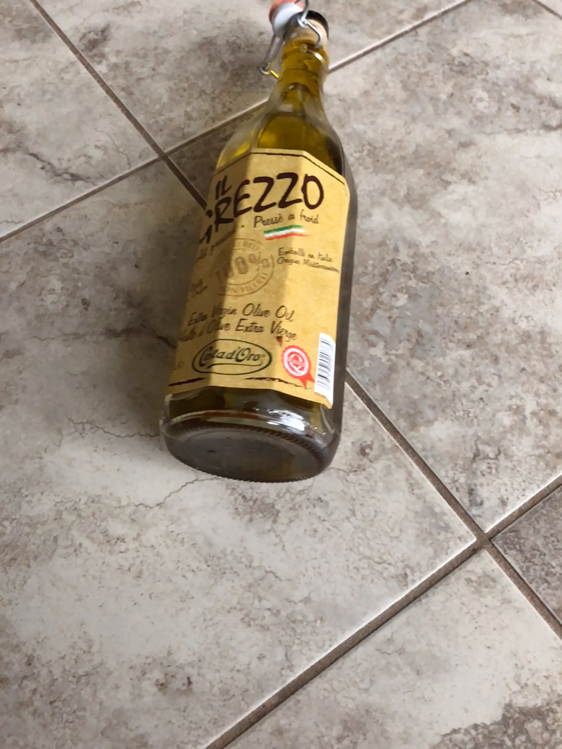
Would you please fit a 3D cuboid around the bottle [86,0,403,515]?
[{"bbox_3d":[0.004,-0.113,0.351,0.090,0.100,0.351,7,62,7],"label":"bottle"}]
